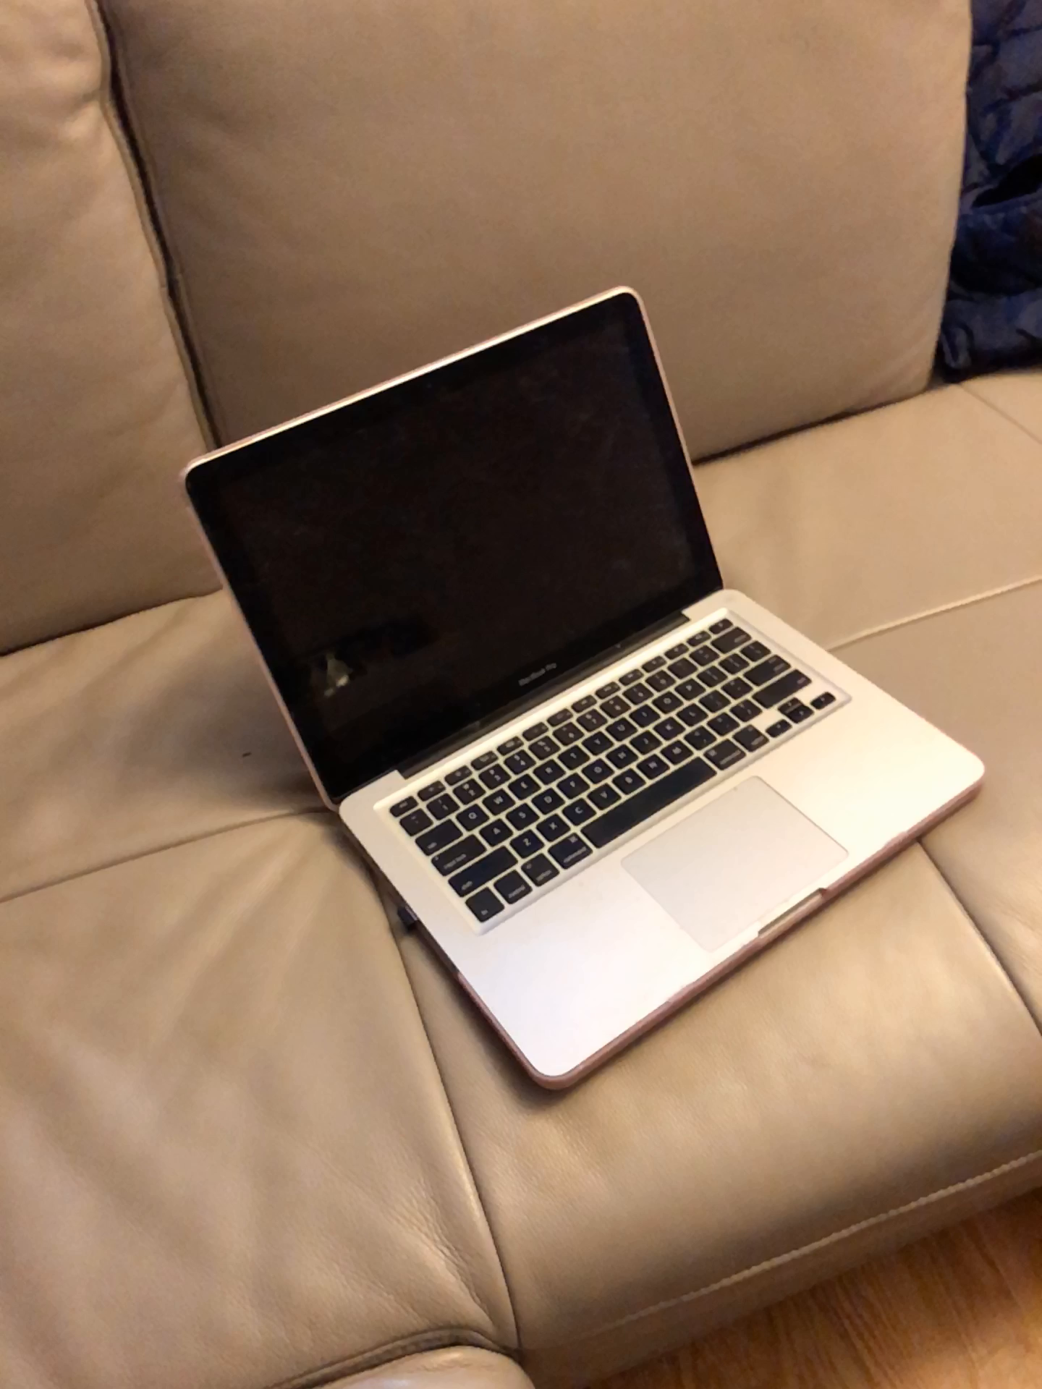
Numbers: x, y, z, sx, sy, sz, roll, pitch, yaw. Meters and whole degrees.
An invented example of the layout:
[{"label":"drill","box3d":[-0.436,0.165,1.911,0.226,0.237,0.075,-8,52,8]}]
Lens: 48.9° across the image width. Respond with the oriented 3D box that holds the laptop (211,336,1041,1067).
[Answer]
[{"label":"laptop","box3d":[0.049,-0.026,0.633,0.305,0.177,0.307,-29,46,-21]}]
